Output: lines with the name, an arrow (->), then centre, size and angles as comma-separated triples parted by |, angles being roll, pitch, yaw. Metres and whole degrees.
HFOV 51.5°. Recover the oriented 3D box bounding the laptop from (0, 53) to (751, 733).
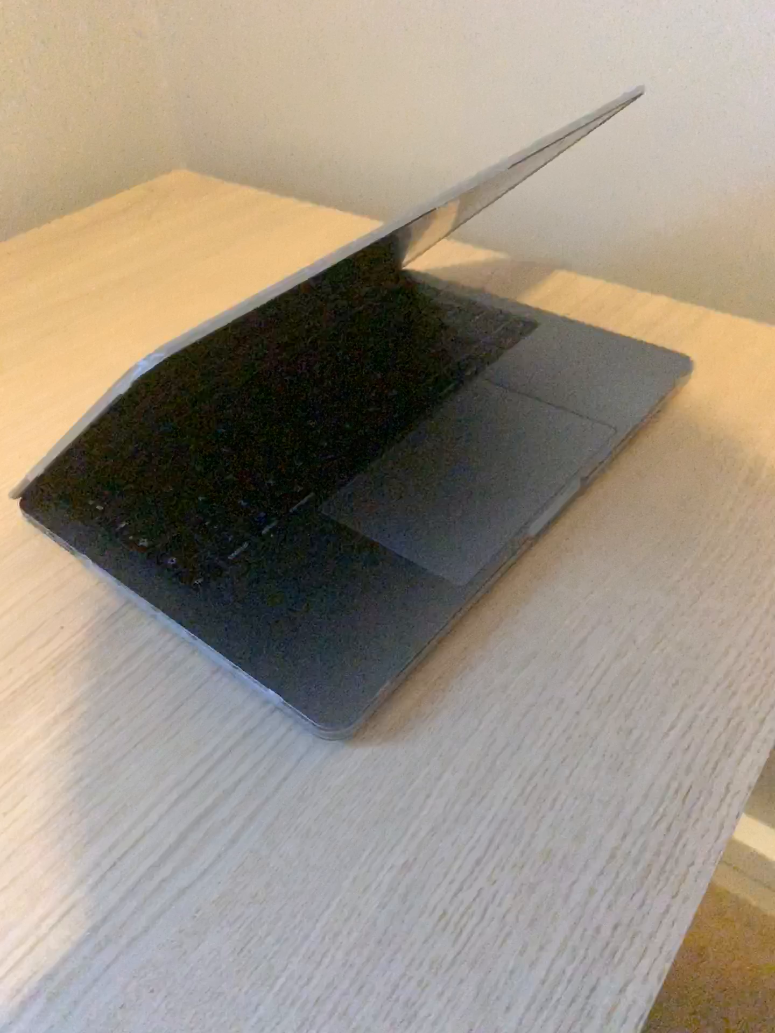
laptop -> -0.009, -0.094, 0.361 | 0.205, 0.130, 0.290 | 26, 50, 31
